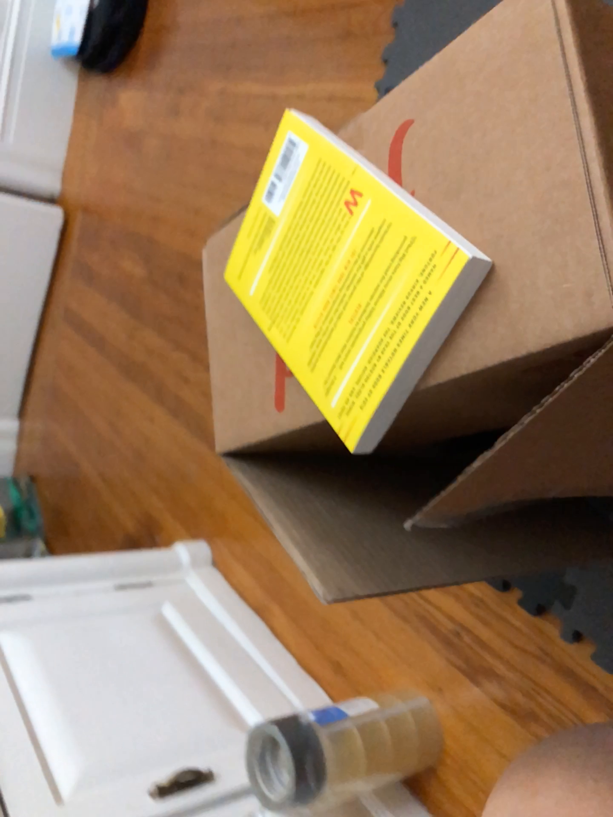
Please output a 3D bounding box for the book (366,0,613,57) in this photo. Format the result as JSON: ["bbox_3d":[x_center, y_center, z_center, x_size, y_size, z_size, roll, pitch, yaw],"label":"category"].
[{"bbox_3d":[0.141,-0.358,0.478,0.221,0.020,0.150,53,126,40],"label":"book"}]
